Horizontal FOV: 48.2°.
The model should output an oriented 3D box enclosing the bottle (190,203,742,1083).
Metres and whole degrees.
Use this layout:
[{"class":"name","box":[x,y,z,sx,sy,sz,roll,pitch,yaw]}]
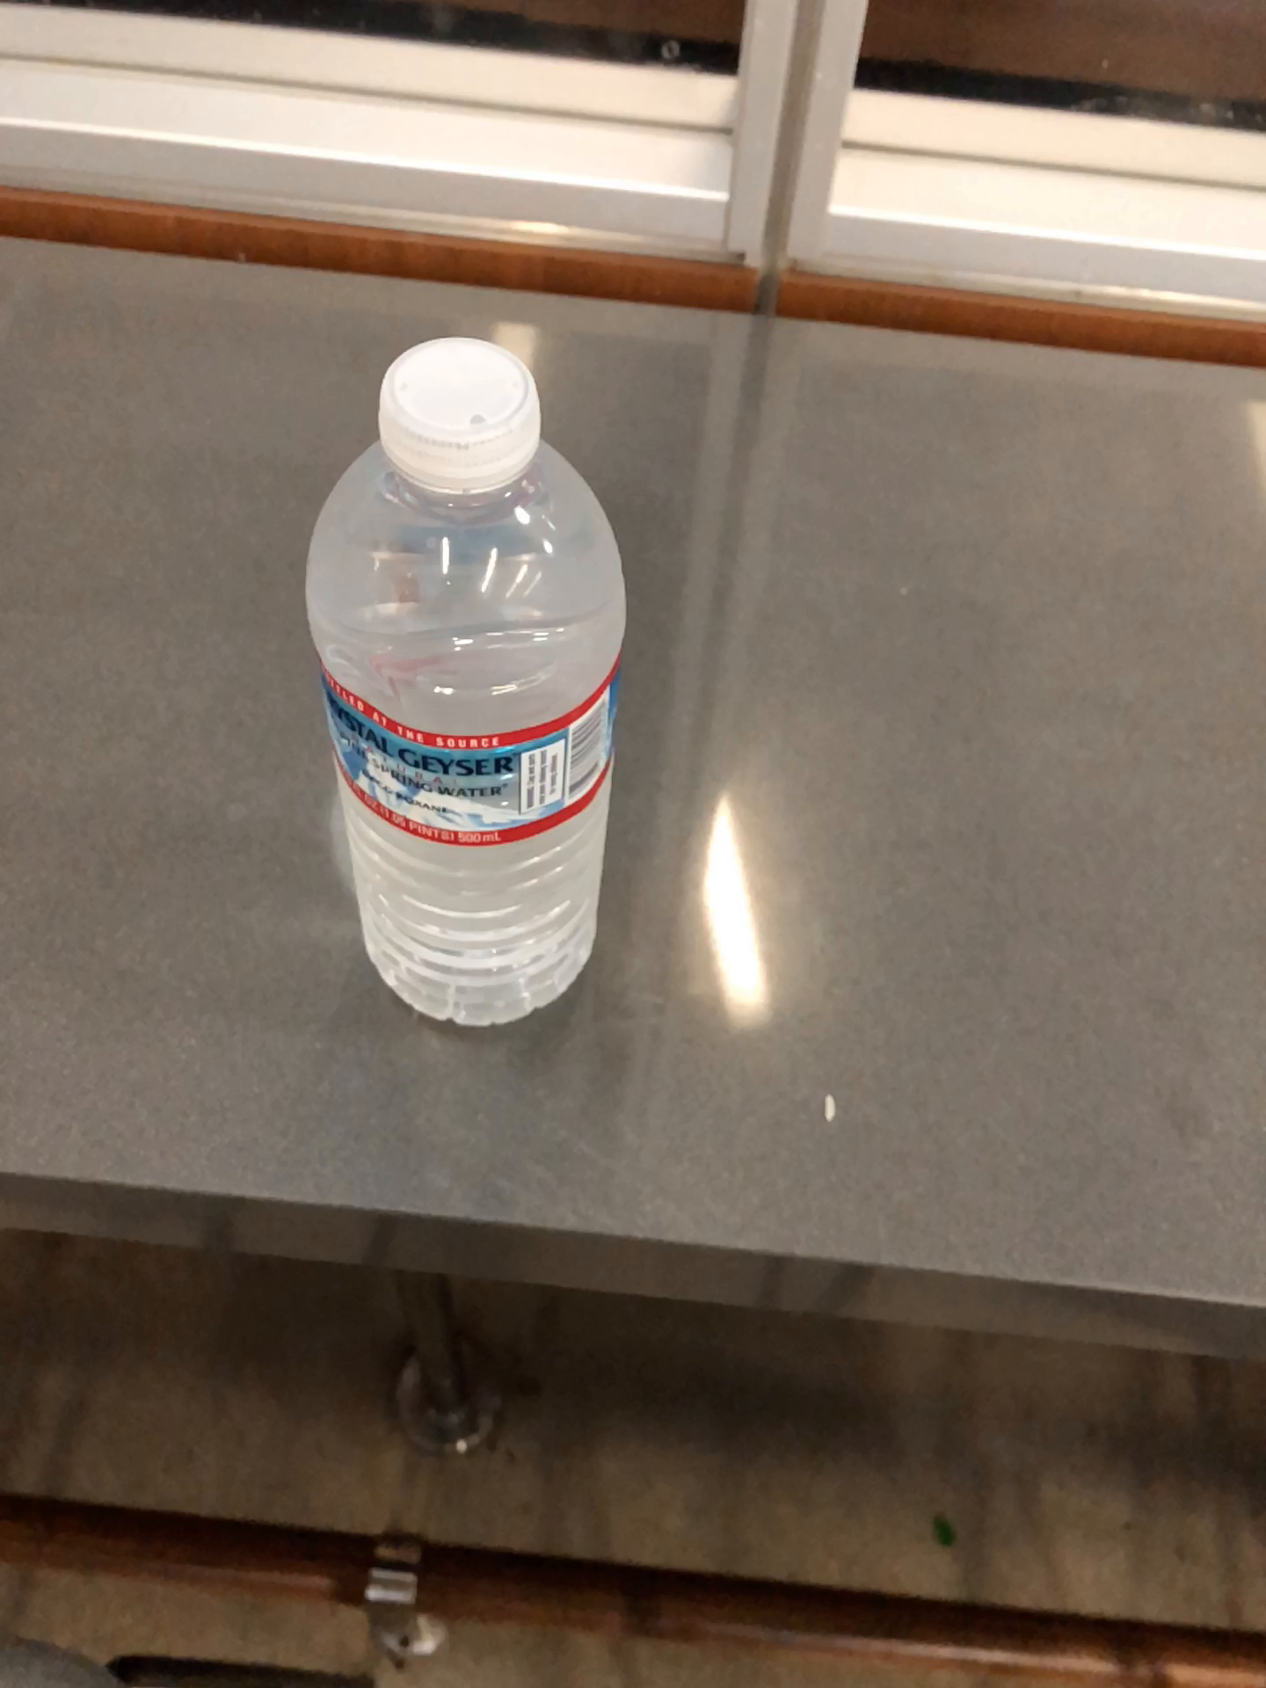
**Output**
[{"class":"bottle","box":[-0.032,-0.029,0.321,0.070,0.189,0.070,2,55,-3]}]
